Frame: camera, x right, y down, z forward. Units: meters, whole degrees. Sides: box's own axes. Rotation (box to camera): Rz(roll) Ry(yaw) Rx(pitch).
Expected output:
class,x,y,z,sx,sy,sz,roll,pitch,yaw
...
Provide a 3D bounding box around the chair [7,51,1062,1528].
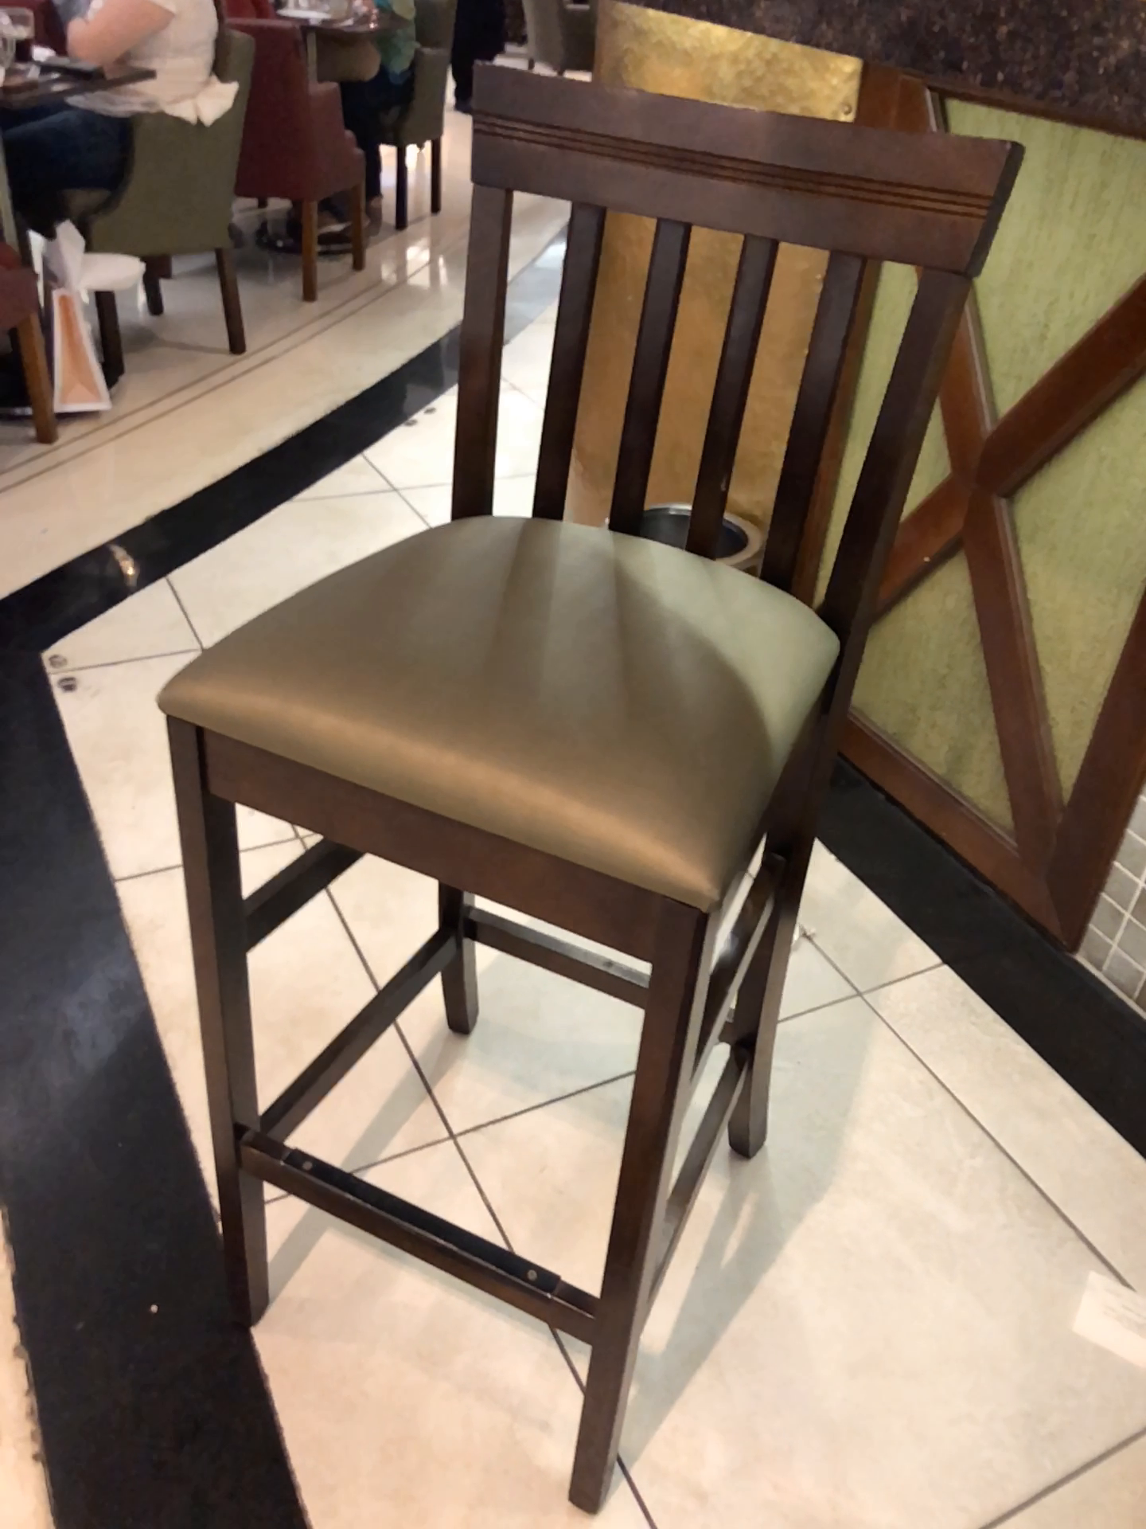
class,x,y,z,sx,sy,sz,roll,pitch,yaw
chair,-0.014,0.040,1.038,0.460,1.032,0.493,18,36,18
